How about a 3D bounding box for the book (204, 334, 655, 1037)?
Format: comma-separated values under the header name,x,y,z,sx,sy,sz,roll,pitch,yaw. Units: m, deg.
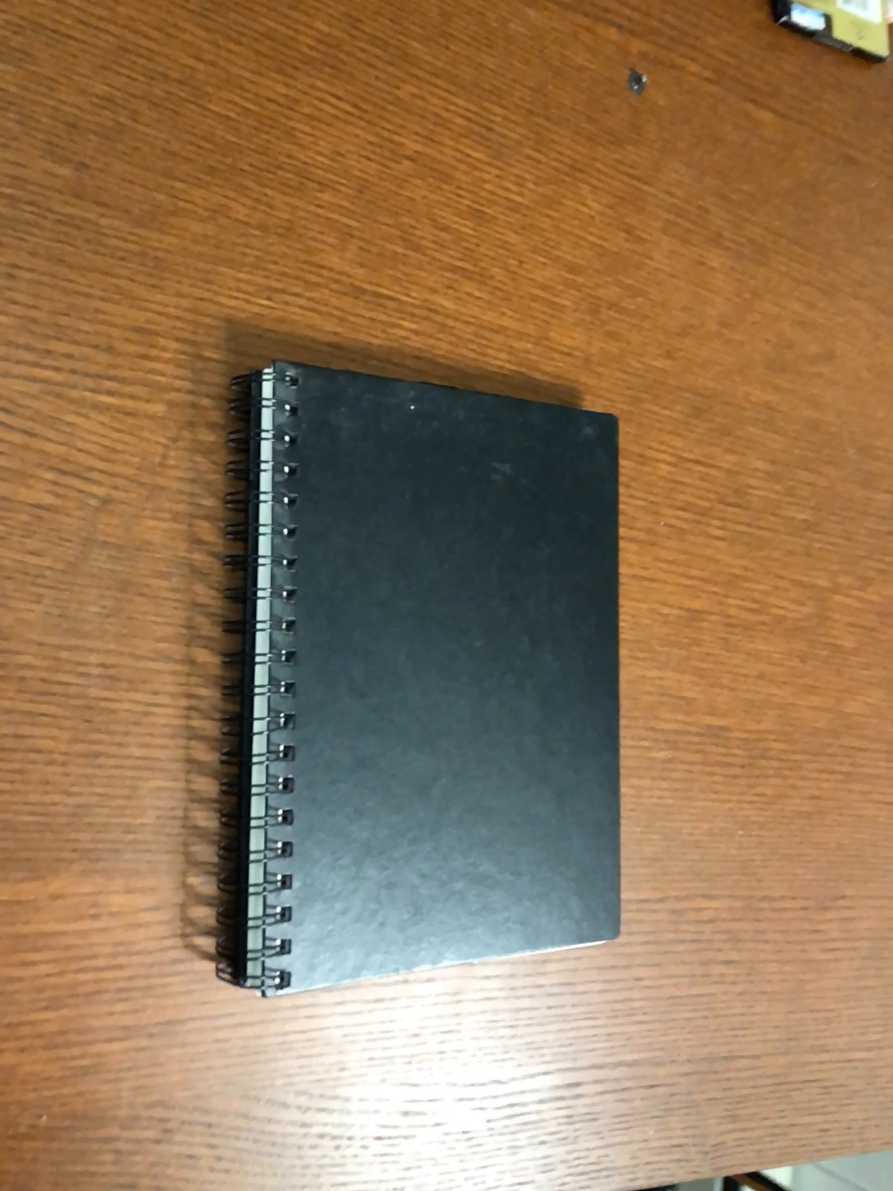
name,x,y,z,sx,sy,sz,roll,pitch,yaw
book,0.001,0.034,0.425,0.201,0.030,0.260,2,86,-28
